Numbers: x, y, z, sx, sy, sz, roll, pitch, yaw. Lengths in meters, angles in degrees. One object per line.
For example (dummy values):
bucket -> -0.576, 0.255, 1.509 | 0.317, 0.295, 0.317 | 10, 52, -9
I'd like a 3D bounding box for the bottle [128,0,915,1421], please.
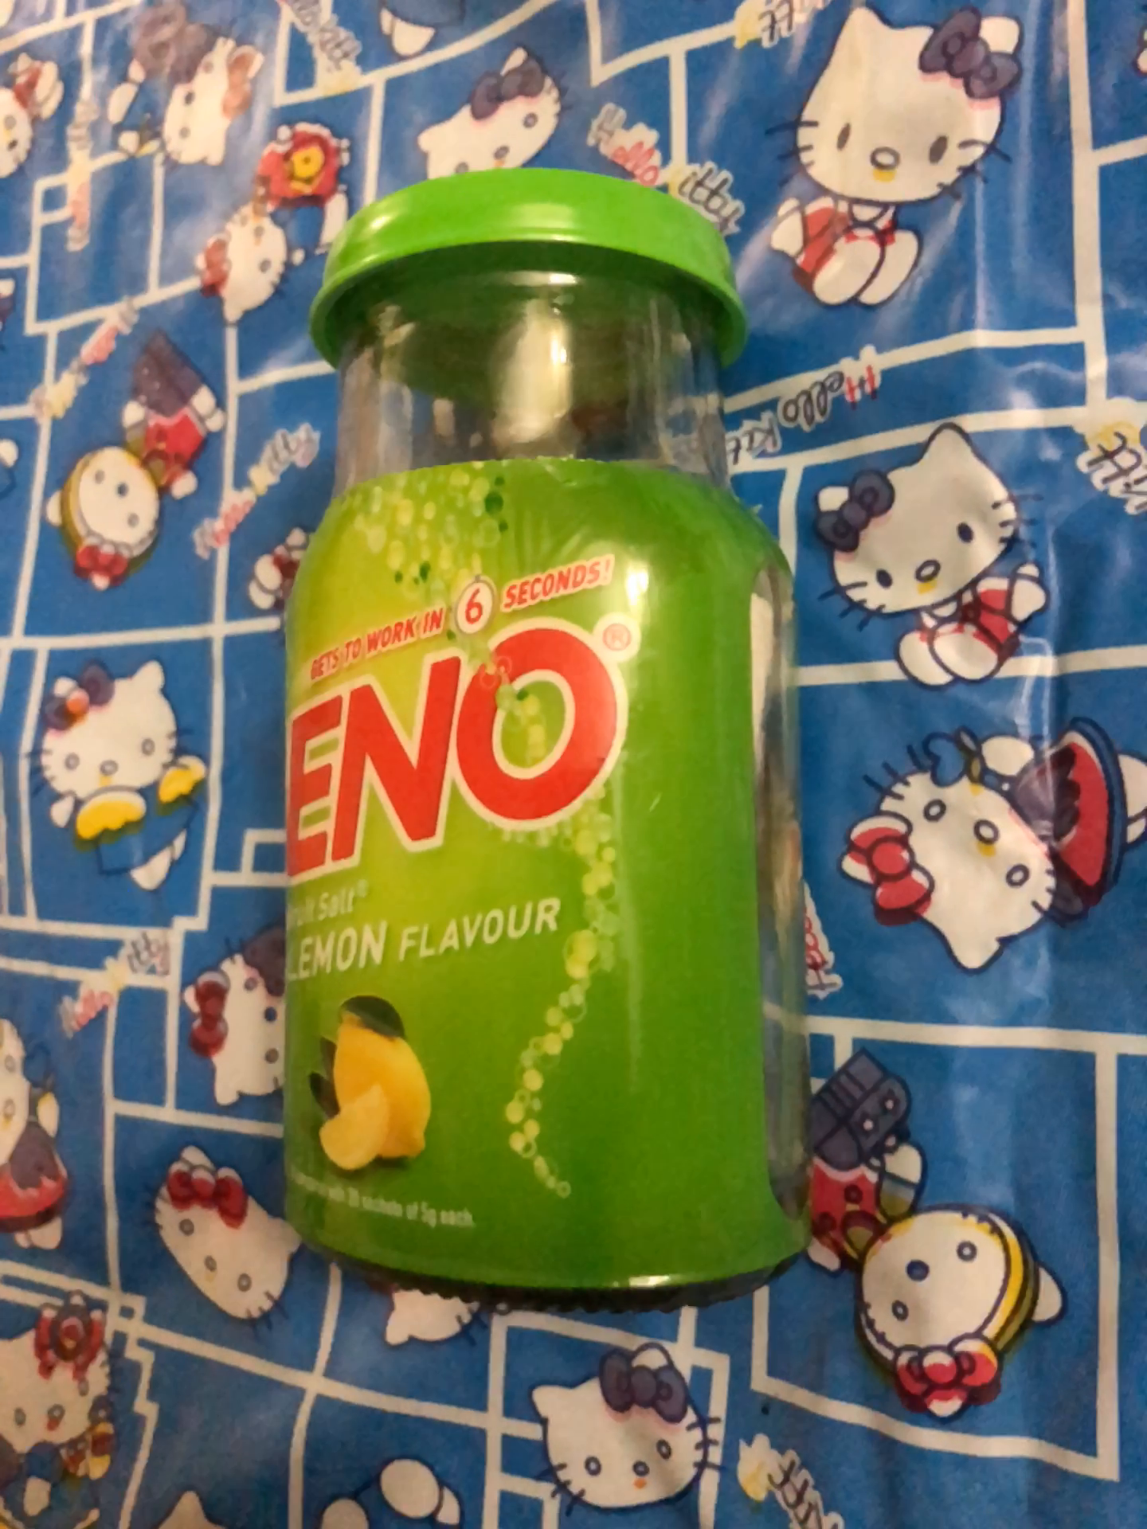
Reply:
bottle -> -0.004, -0.005, 0.134 | 0.060, 0.050, 0.110 | -3, 88, 30
